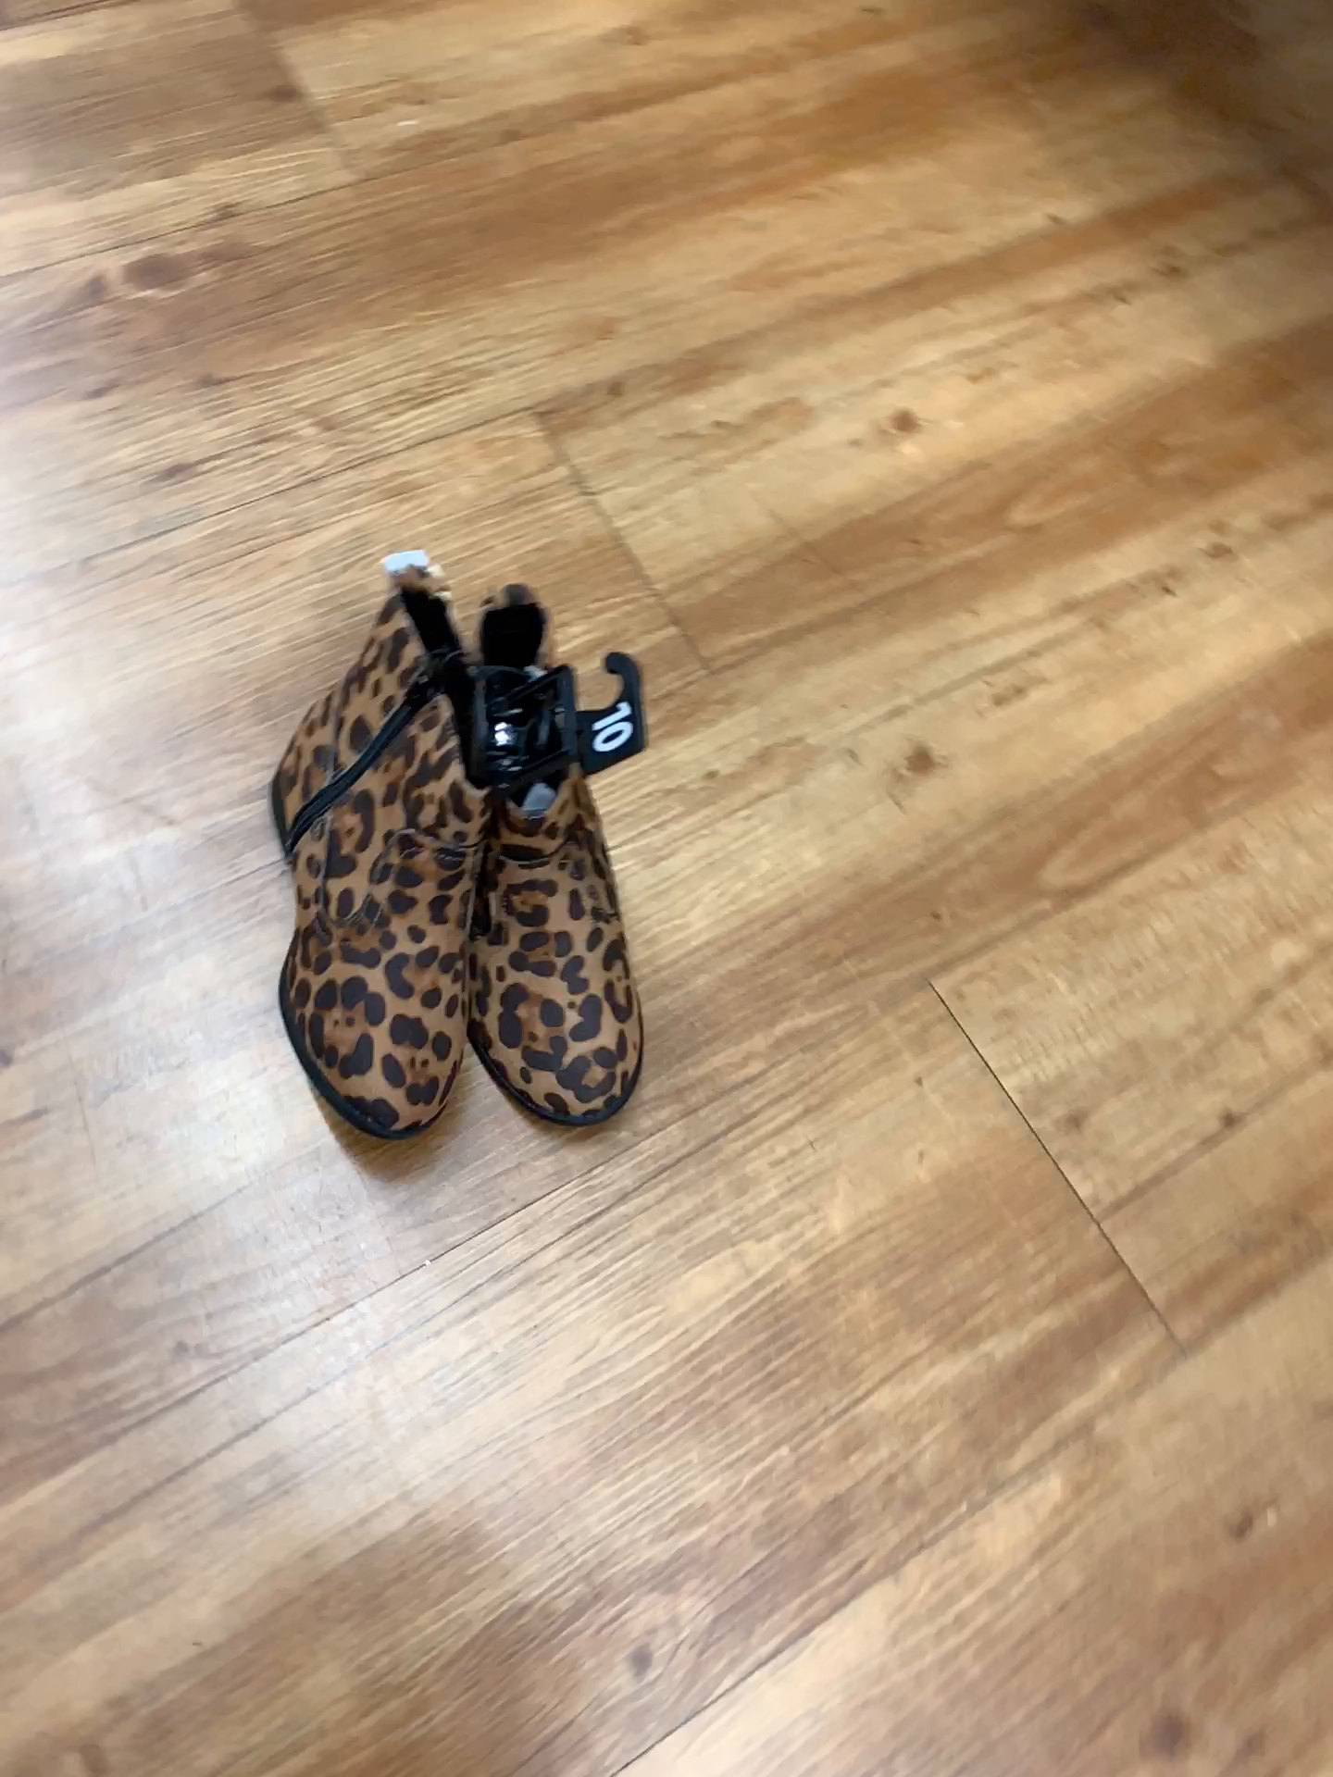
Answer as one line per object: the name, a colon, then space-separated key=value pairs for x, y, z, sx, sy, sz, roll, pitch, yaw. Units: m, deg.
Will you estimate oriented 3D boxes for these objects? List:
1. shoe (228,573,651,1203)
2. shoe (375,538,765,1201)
shoe: x=-0.089 y=0.003 z=0.486 sx=0.070 sy=0.120 sz=0.180 roll=5 pitch=60 yaw=-40
shoe: x=-0.043 y=-0.004 z=0.480 sx=0.070 sy=0.120 sz=0.190 roll=-14 pitch=68 yaw=-15
